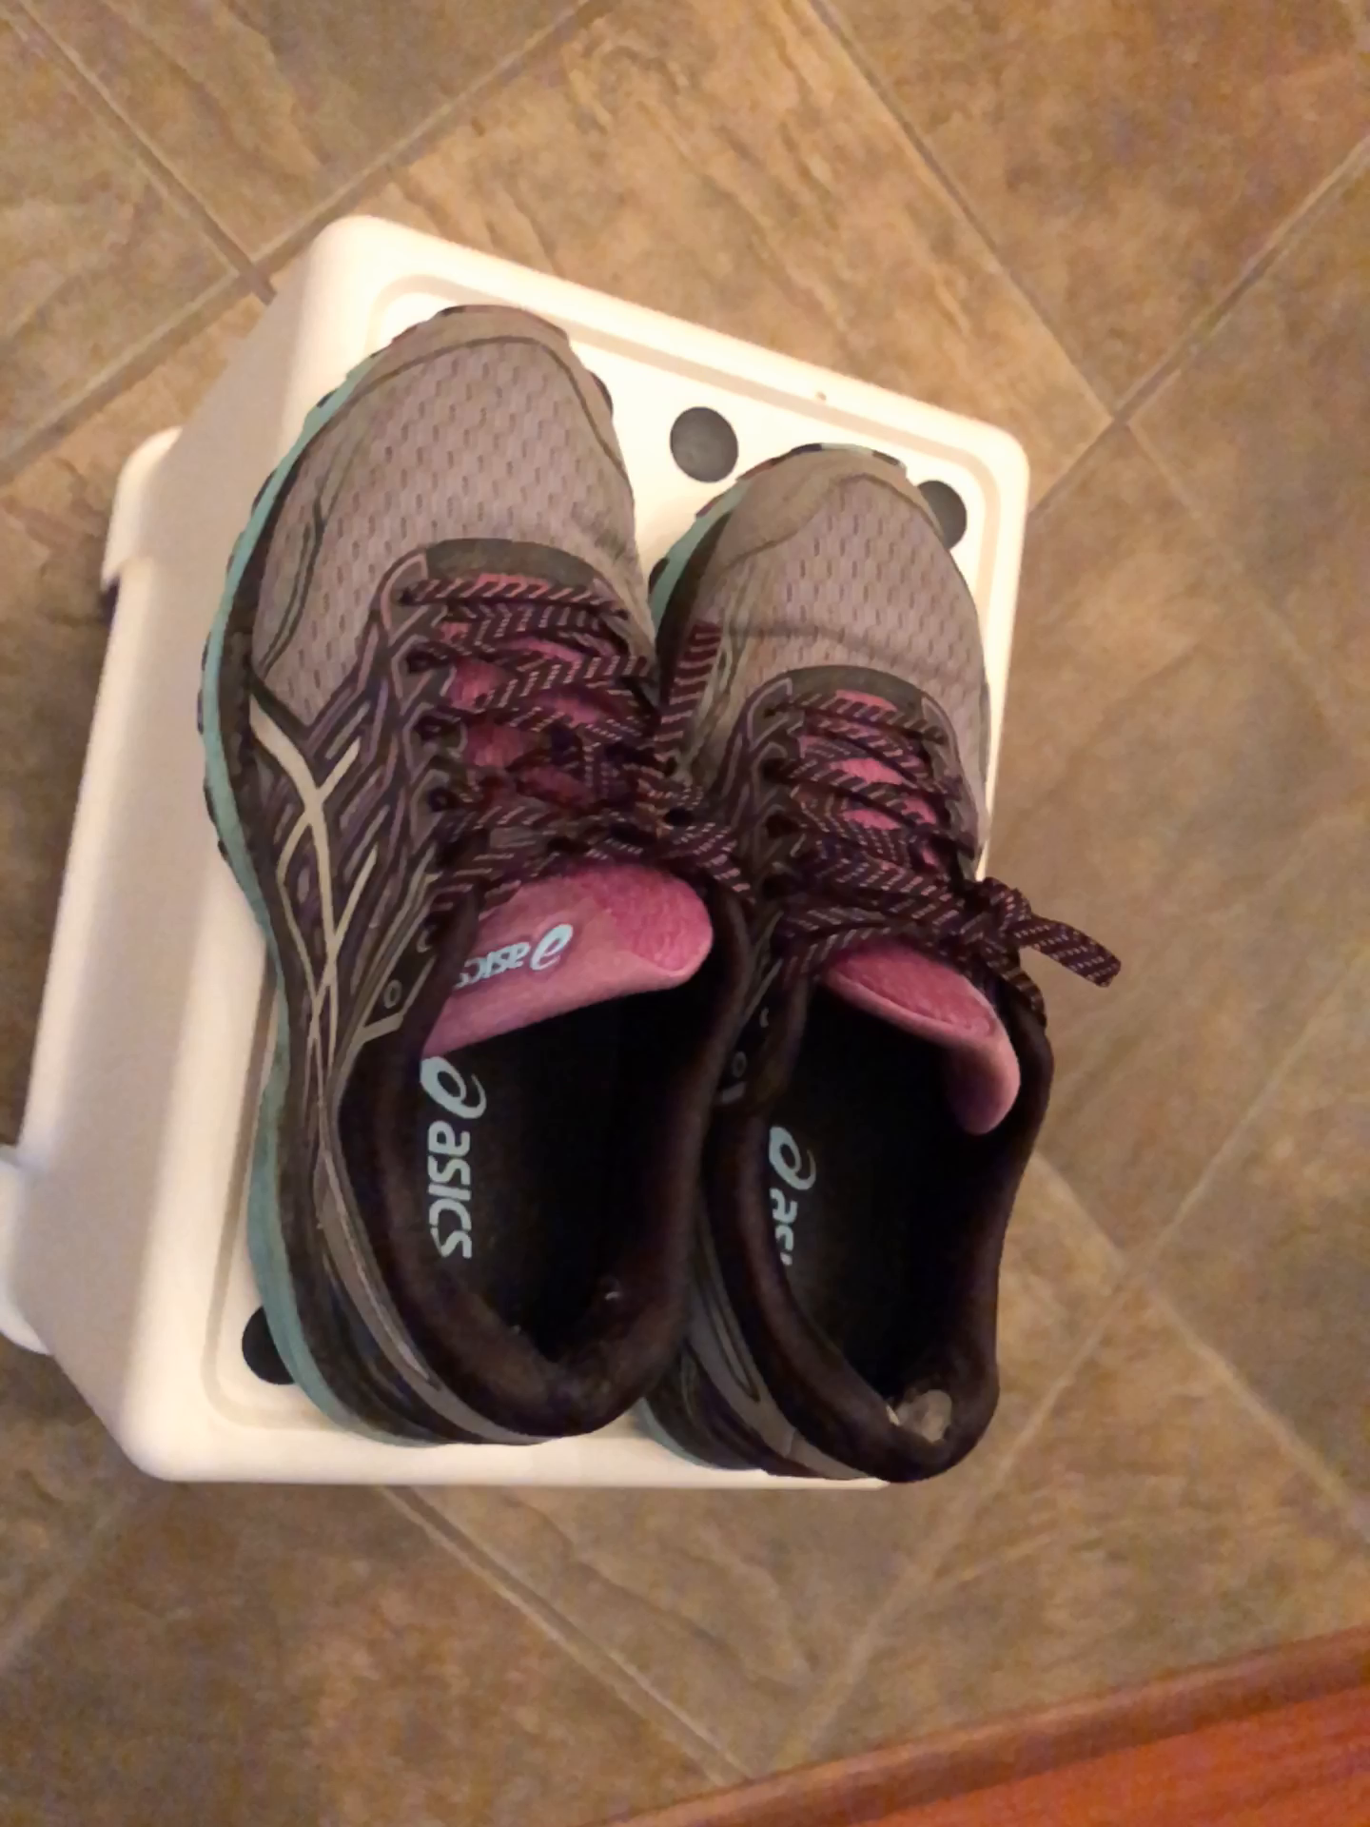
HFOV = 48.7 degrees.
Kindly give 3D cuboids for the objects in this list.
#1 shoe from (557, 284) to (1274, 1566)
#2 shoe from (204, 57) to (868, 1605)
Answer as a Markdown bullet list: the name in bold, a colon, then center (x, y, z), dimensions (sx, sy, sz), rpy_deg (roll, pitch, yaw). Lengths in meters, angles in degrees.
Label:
- **shoe**: center (0.053, 0.006, 0.381), dimensions (0.110, 0.120, 0.260), rpy_deg (8, 85, -23)
- **shoe**: center (-0.039, -0.013, 0.330), dimensions (0.110, 0.120, 0.260), rpy_deg (1, 87, -23)
